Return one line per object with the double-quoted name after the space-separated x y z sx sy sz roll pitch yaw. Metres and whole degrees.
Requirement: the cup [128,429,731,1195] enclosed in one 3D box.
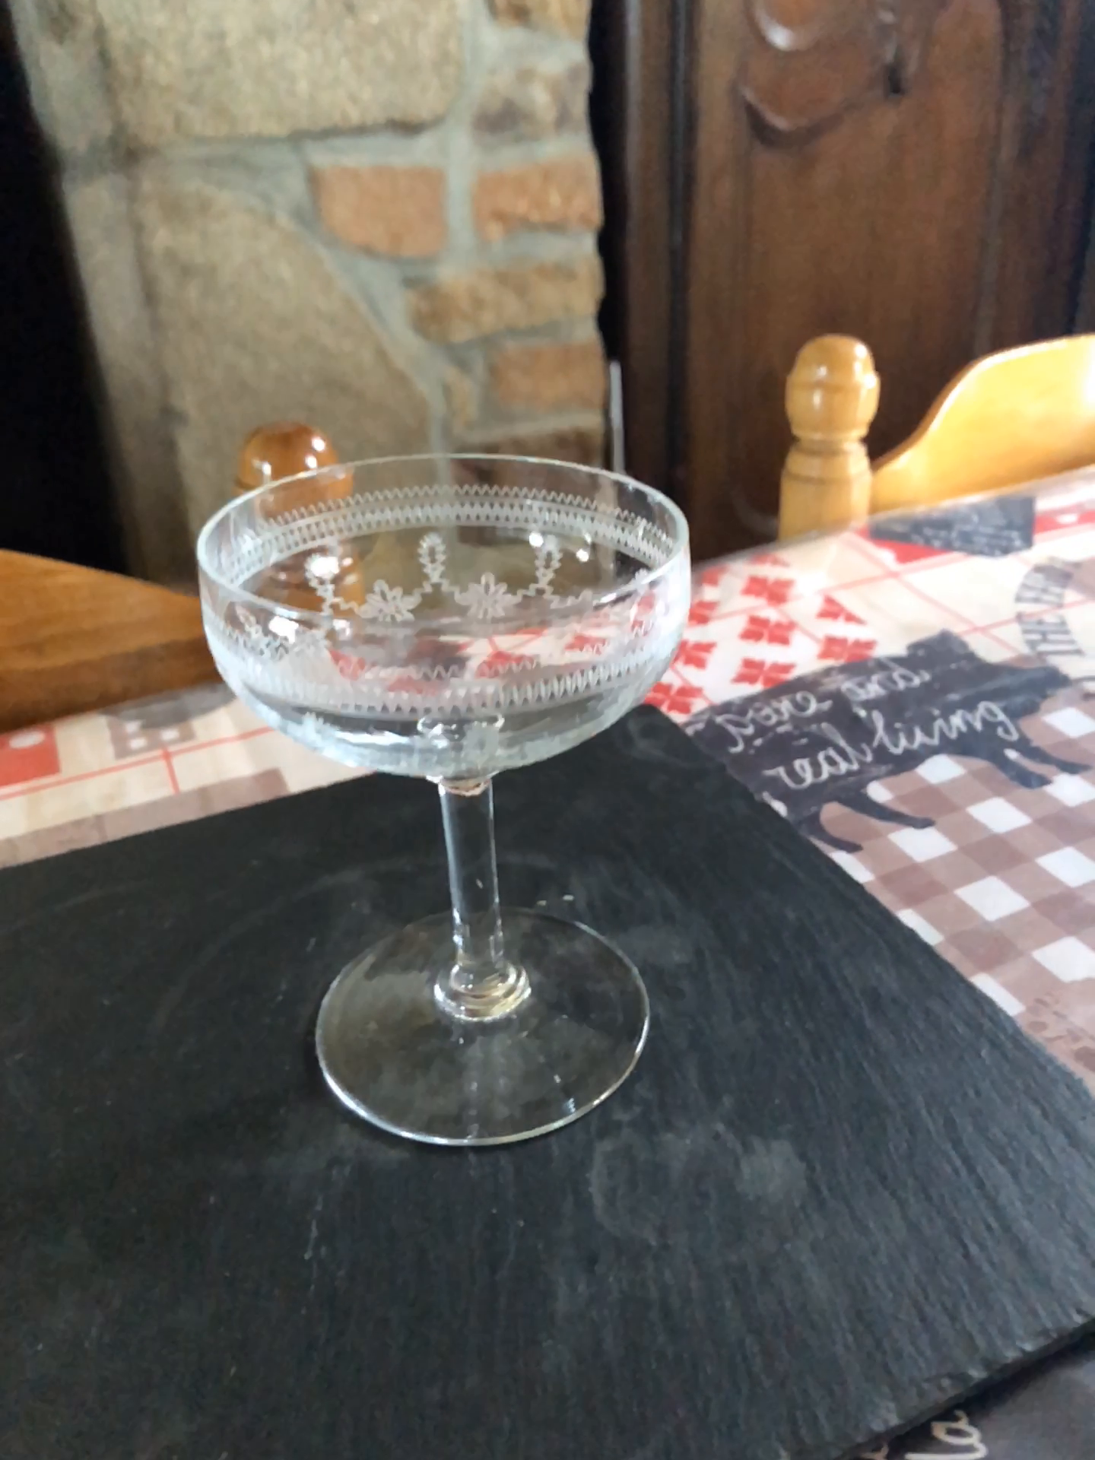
-0.019 0.012 0.251 0.090 0.119 0.091 -2 29 1 "cup"
